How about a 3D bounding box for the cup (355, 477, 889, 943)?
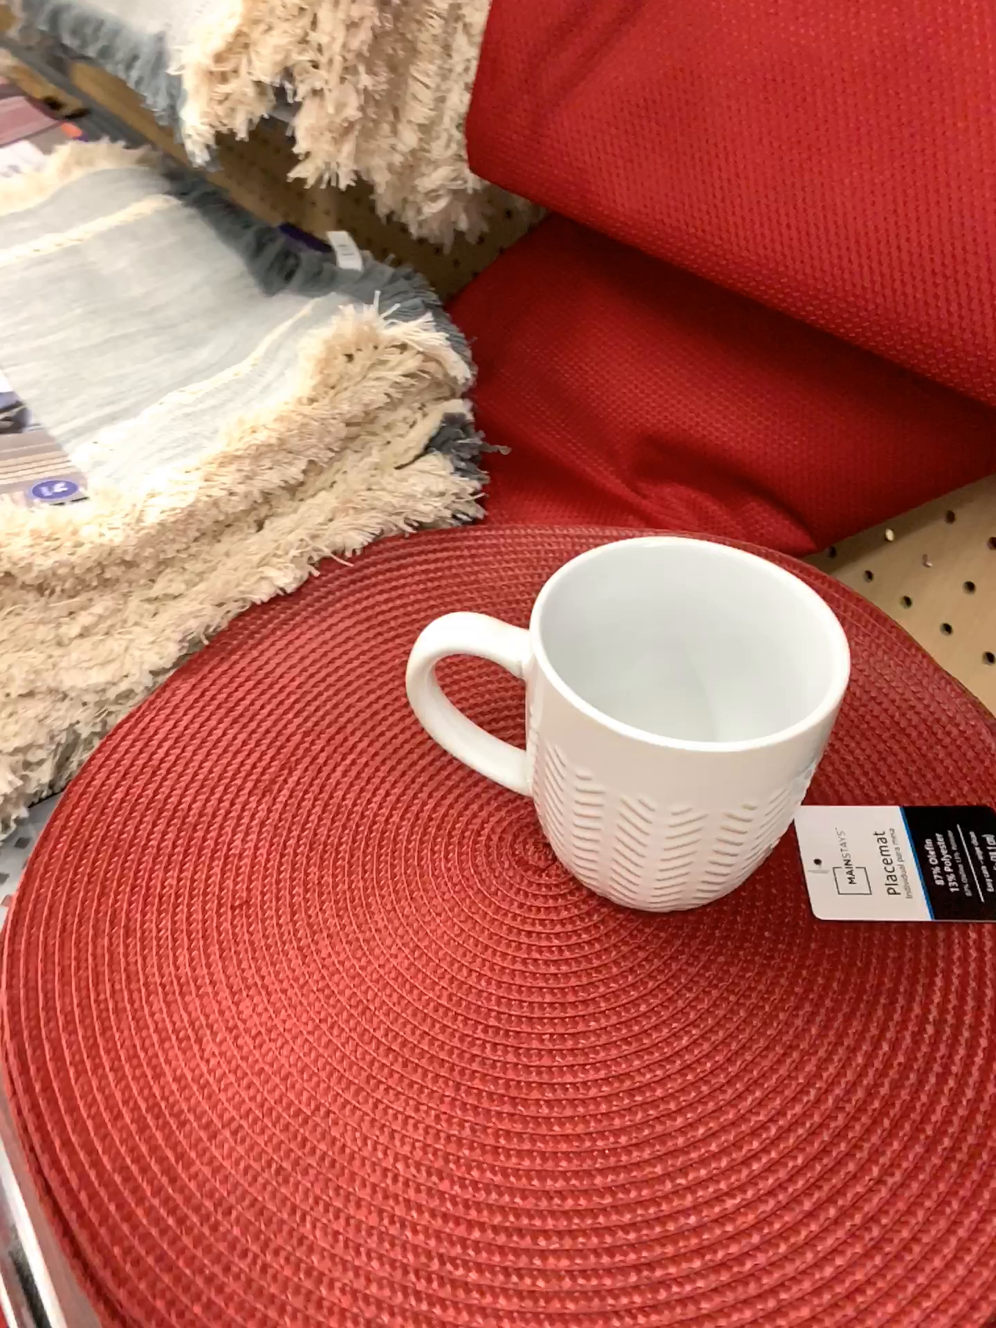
[{"bbox_3d":[0.036,0.009,0.334,0.140,0.090,0.101,9,33,6],"label":"cup"}]
